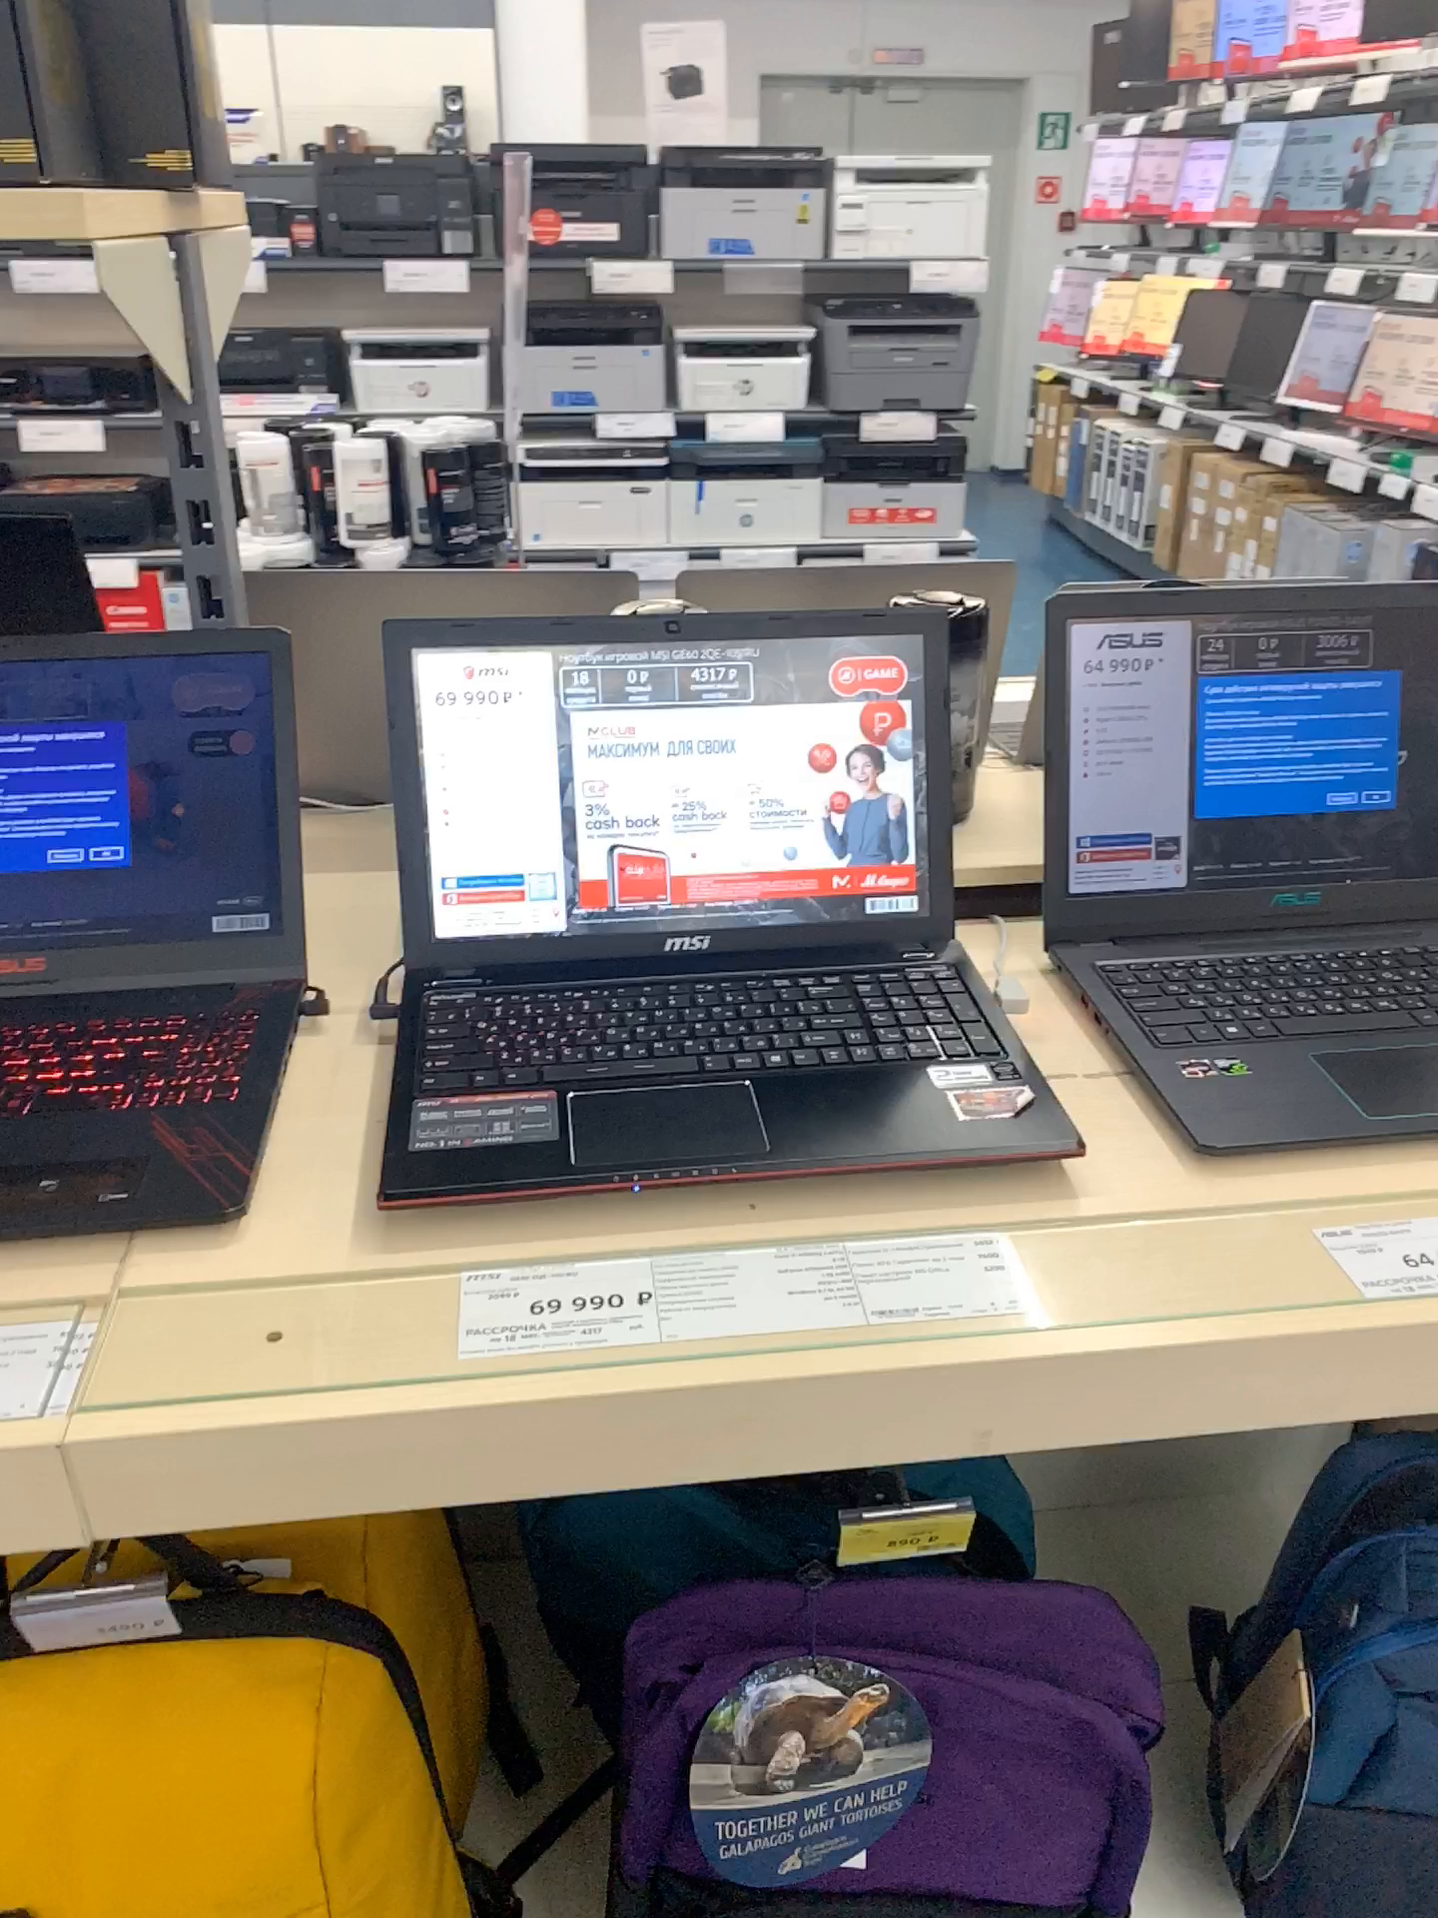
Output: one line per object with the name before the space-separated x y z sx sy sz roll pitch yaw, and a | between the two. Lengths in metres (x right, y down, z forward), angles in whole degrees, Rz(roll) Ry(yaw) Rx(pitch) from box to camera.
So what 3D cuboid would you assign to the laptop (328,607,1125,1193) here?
laptop | -0.013 -0.057 0.827 0.355 0.197 0.314 -3 27 -8
